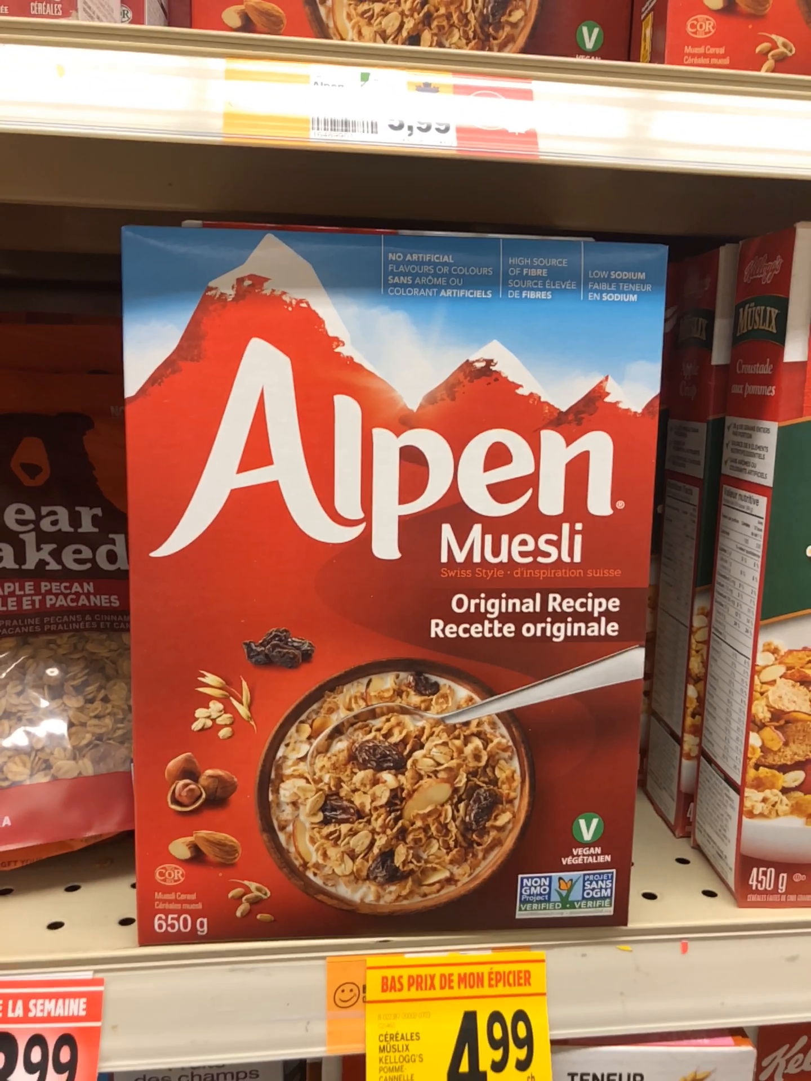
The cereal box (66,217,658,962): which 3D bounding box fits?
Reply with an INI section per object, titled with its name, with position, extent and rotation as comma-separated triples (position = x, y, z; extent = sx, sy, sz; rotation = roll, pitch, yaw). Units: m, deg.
[cereal box]
position = -0.016, 0.018, 0.322
extent = 0.180, 0.239, 0.060
rotation = 0, 10, -7
